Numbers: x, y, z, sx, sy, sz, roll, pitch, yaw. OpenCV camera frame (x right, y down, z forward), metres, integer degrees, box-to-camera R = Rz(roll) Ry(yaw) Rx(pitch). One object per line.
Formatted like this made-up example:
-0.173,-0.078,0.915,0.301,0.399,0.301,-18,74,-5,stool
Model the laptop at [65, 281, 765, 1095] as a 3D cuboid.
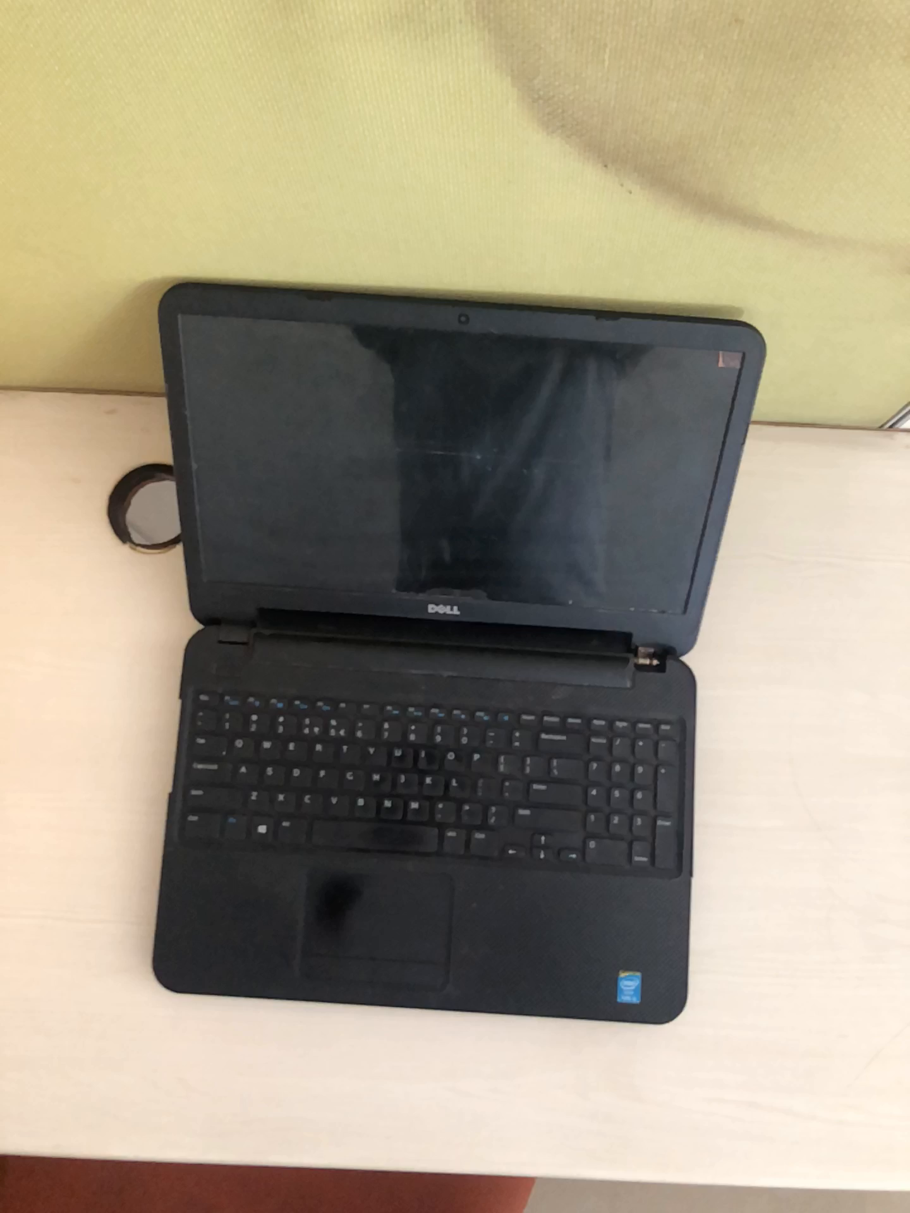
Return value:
-0.011,0.046,0.629,0.355,0.159,0.427,4,81,0,laptop
